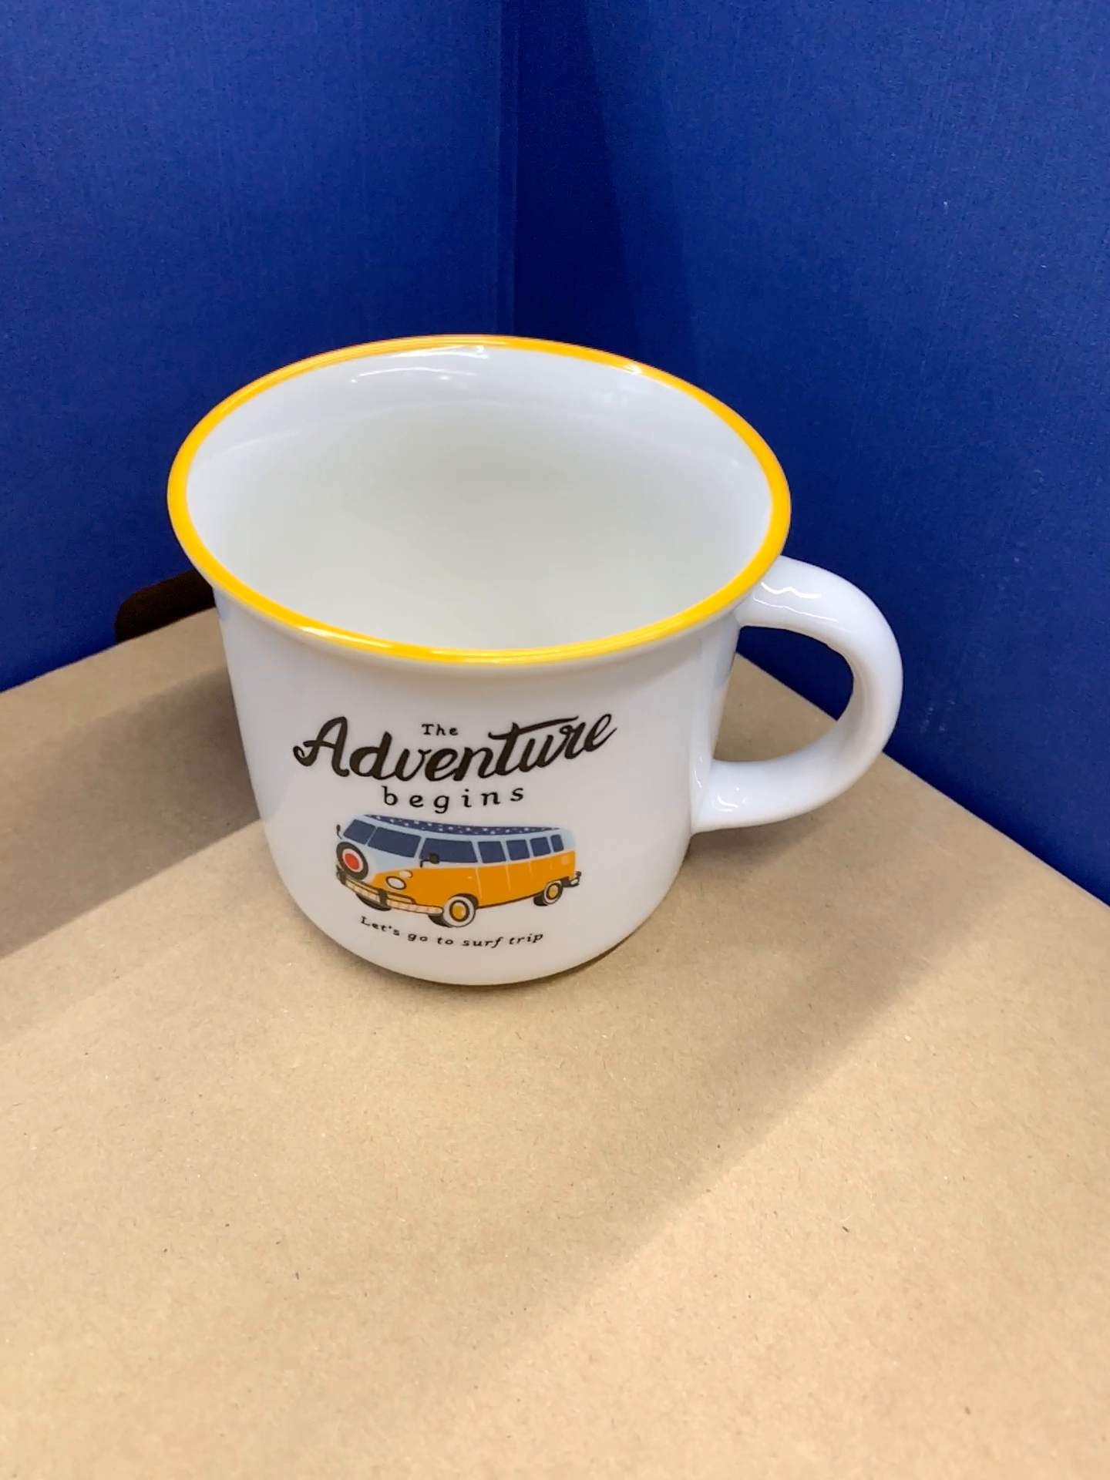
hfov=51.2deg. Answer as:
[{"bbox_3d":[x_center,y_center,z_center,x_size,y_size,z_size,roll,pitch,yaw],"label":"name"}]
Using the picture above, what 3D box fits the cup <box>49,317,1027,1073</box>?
[{"bbox_3d":[-0.001,-0.012,0.211,0.124,0.083,0.102,5,41,1],"label":"cup"}]
